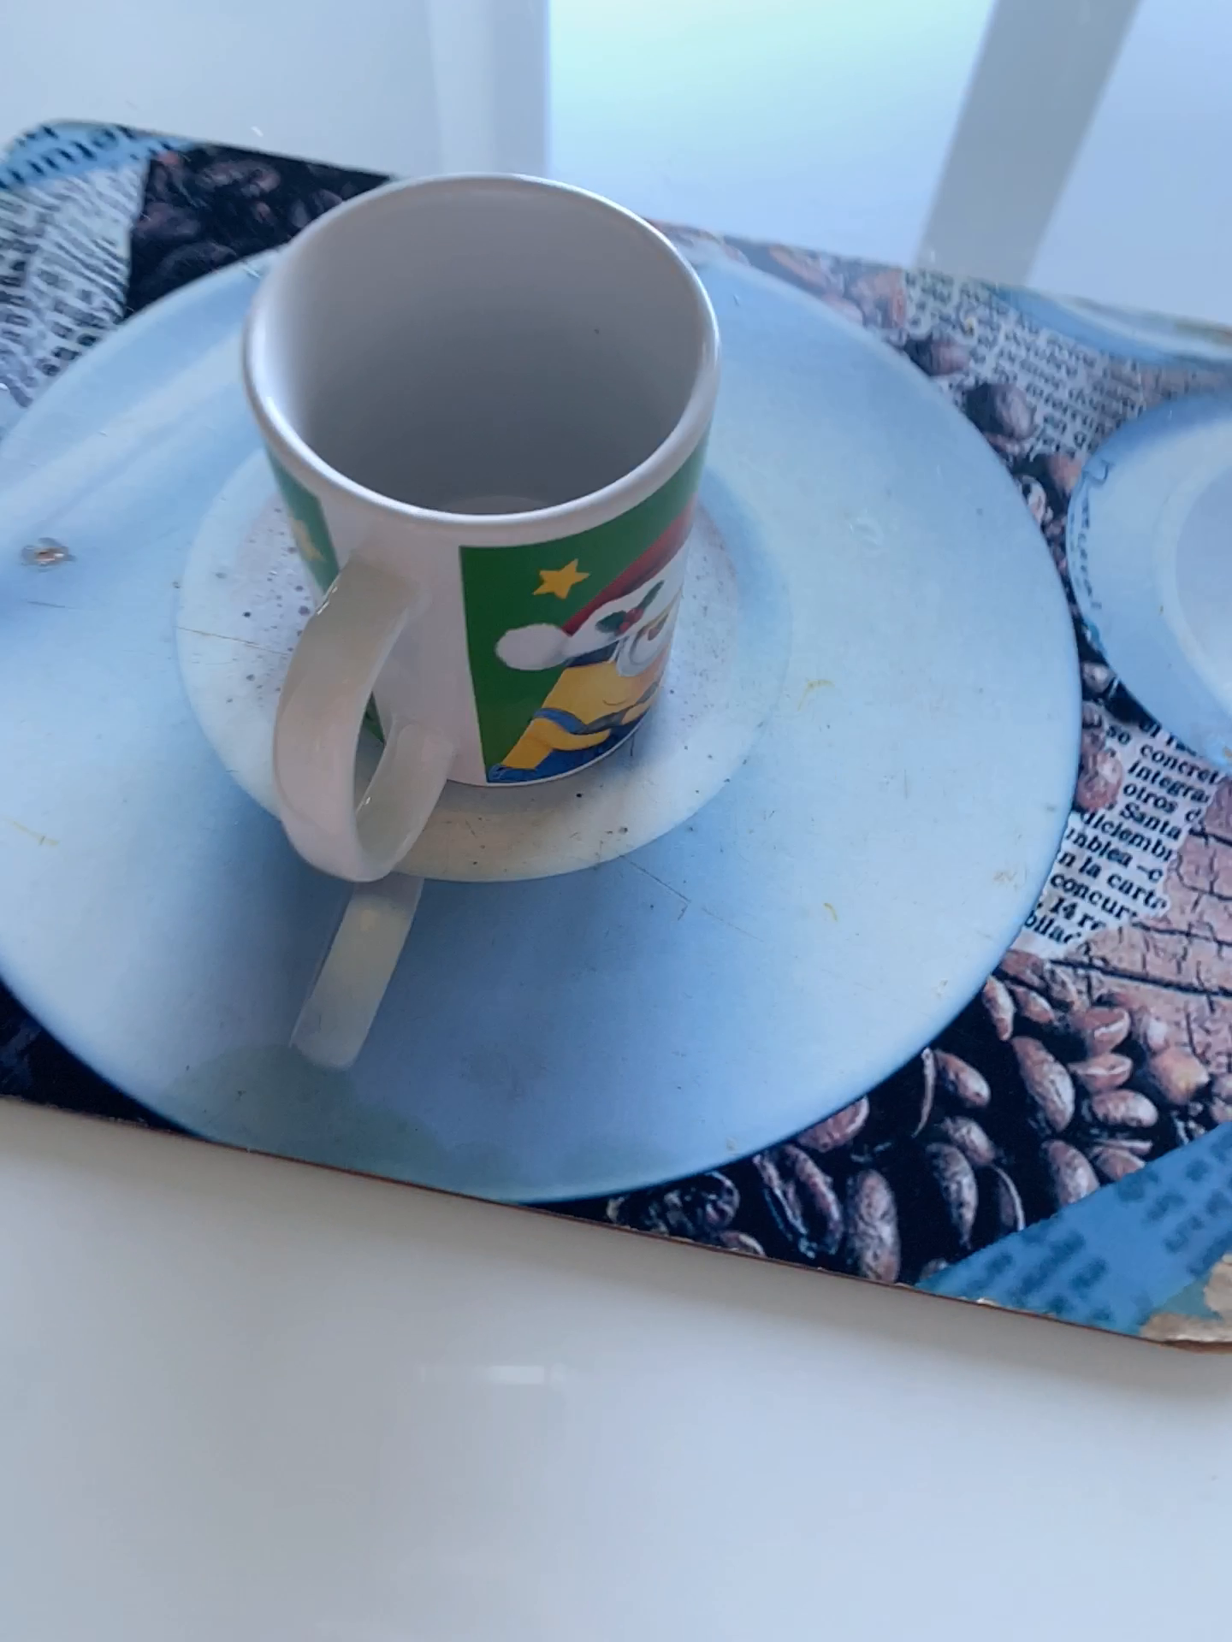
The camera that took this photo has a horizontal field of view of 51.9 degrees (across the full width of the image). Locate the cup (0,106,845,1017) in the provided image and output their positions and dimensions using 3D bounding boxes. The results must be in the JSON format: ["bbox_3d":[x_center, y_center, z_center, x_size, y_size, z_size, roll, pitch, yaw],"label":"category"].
[{"bbox_3d":[-0.028,-0.050,0.247,0.094,0.077,0.134,21,66,7],"label":"cup"}]
